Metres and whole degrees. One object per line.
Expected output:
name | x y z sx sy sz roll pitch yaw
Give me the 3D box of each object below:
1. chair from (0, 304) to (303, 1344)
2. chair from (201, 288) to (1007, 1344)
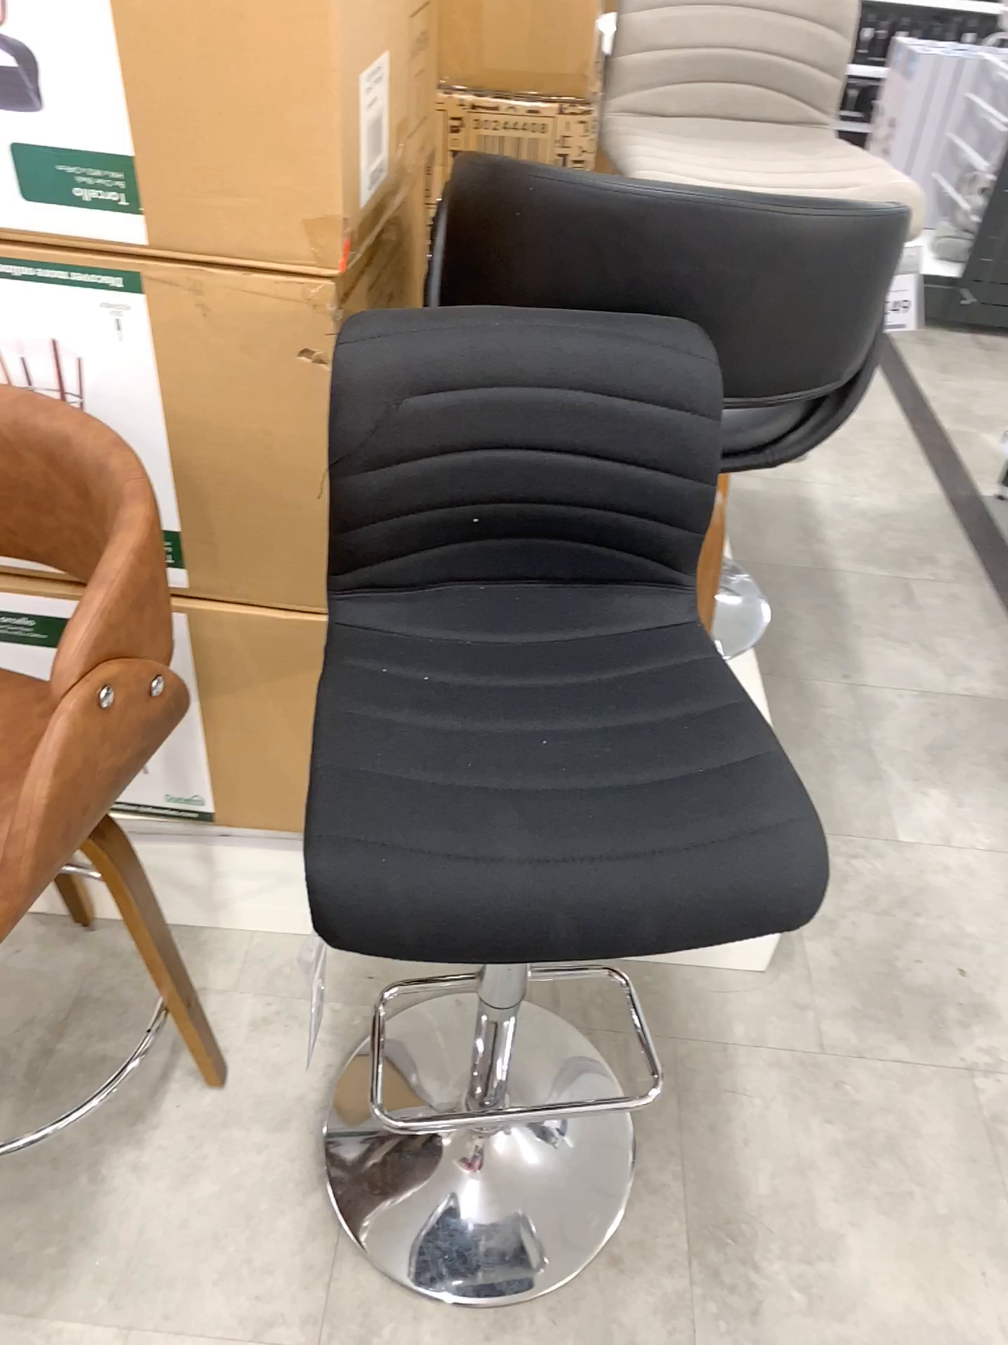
chair | -0.580 0.182 1.076 0.524 0.875 0.523 13 40 9
chair | 0.000 0.202 1.042 0.454 0.994 0.472 -2 40 -9
